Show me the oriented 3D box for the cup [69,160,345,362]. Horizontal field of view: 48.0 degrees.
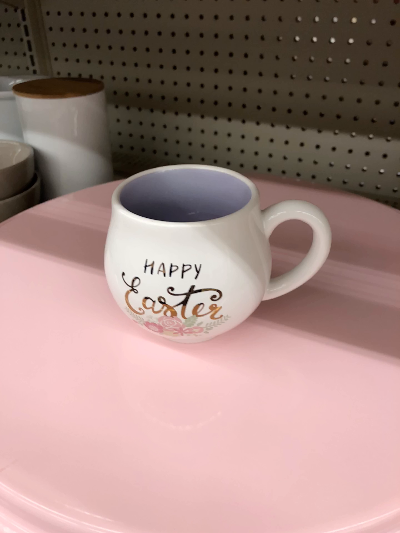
[{"bbox_3d":[0.007,-0.008,0.270,0.130,0.080,0.090,3,33,5],"label":"cup"}]
